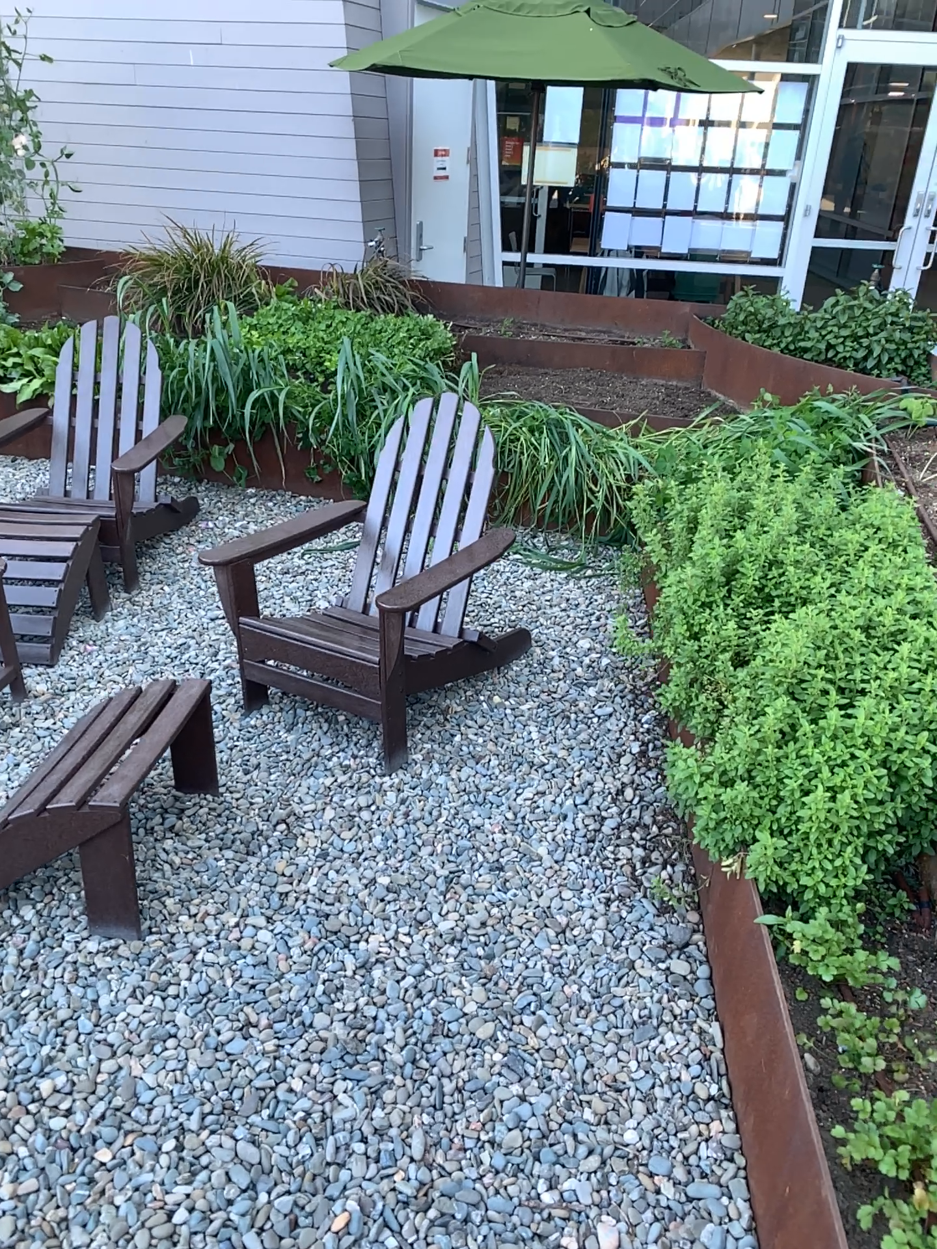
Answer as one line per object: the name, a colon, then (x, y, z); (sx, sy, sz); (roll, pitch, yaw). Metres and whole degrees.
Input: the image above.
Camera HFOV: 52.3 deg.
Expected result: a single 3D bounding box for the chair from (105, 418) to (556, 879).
chair: (-0.452, -0.016, 3.230); (1.004, 0.994, 1.001); (26, 35, 37)
